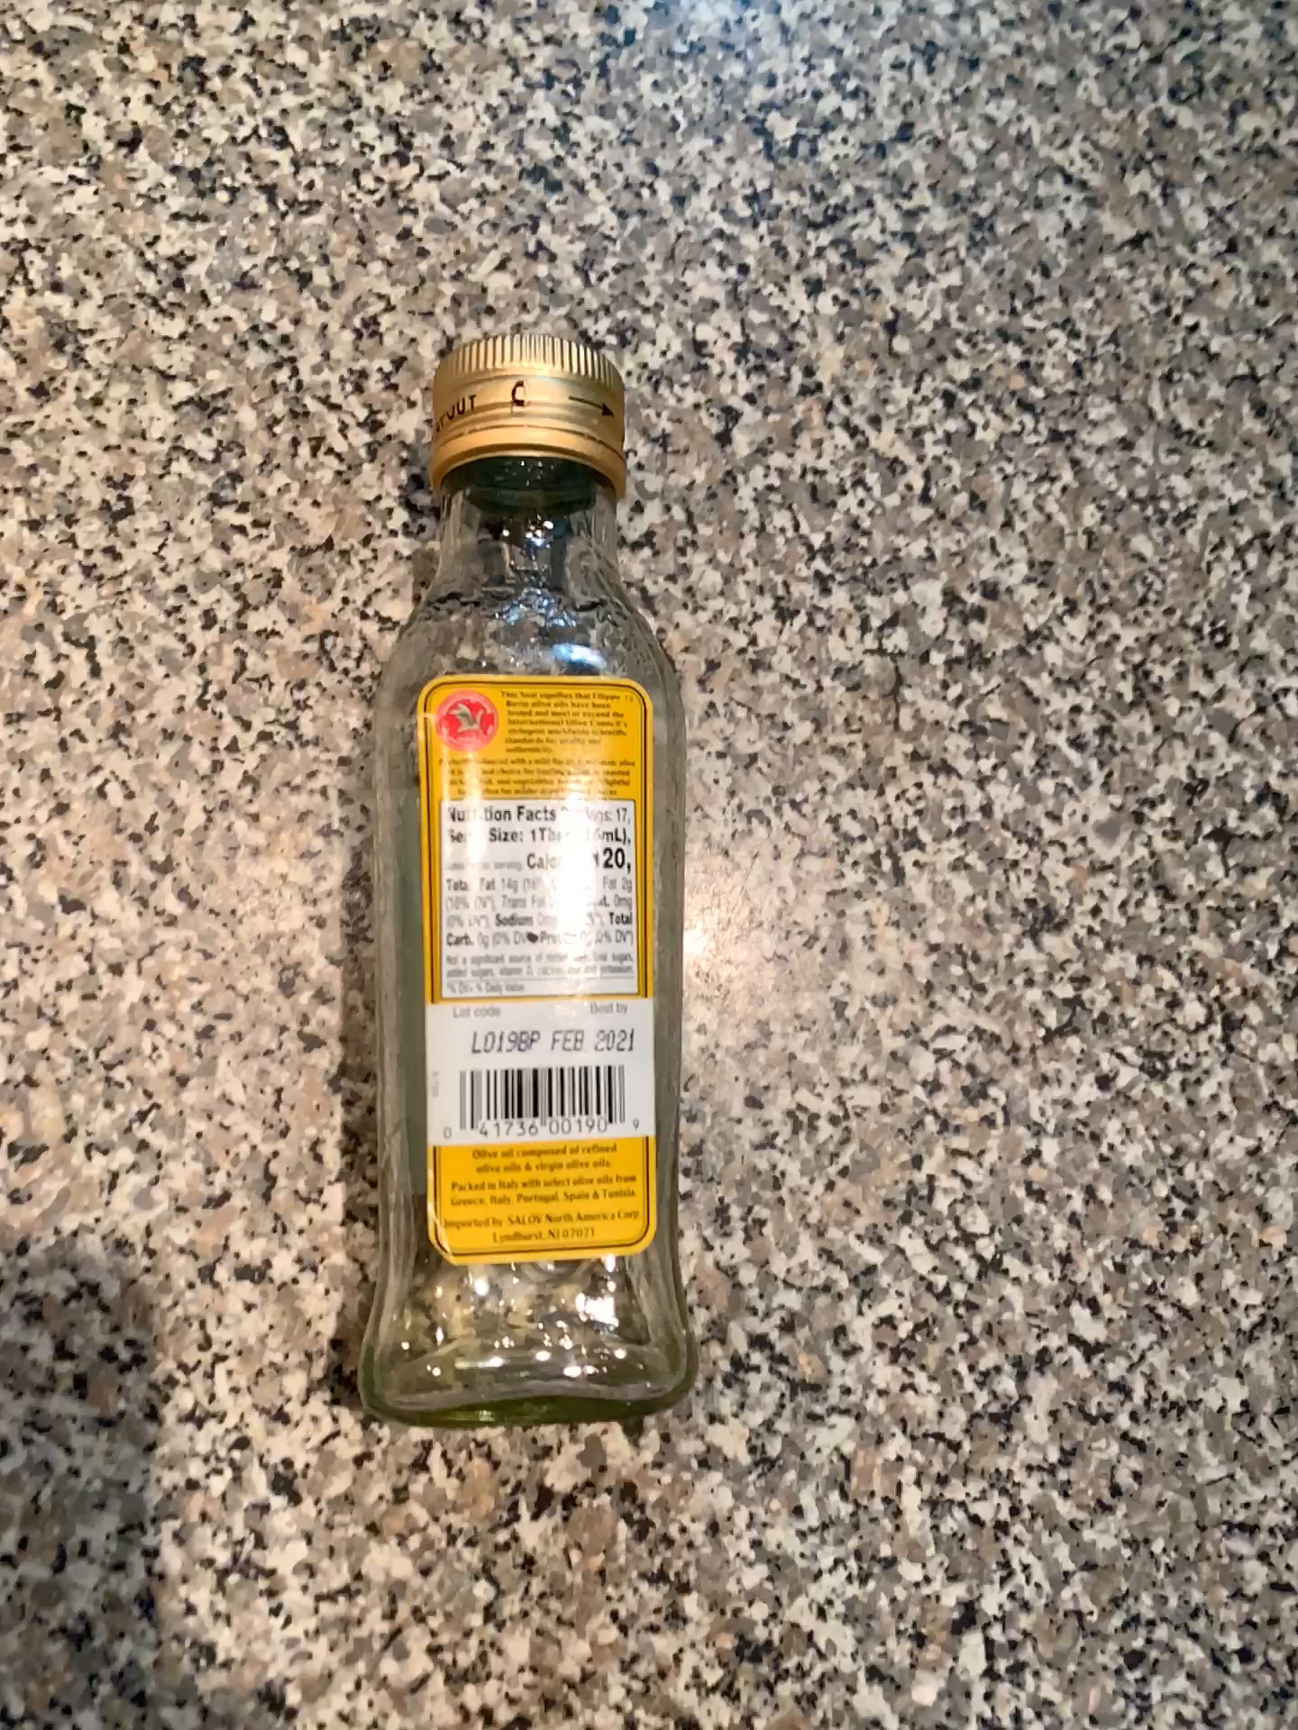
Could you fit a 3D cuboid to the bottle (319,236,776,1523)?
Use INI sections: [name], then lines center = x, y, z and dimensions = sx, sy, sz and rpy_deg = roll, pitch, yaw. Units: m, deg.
[bottle]
center = -0.019, 0.000, 0.219
dimensions = 0.060, 0.060, 0.180
rpy_deg = 0, 81, -9
